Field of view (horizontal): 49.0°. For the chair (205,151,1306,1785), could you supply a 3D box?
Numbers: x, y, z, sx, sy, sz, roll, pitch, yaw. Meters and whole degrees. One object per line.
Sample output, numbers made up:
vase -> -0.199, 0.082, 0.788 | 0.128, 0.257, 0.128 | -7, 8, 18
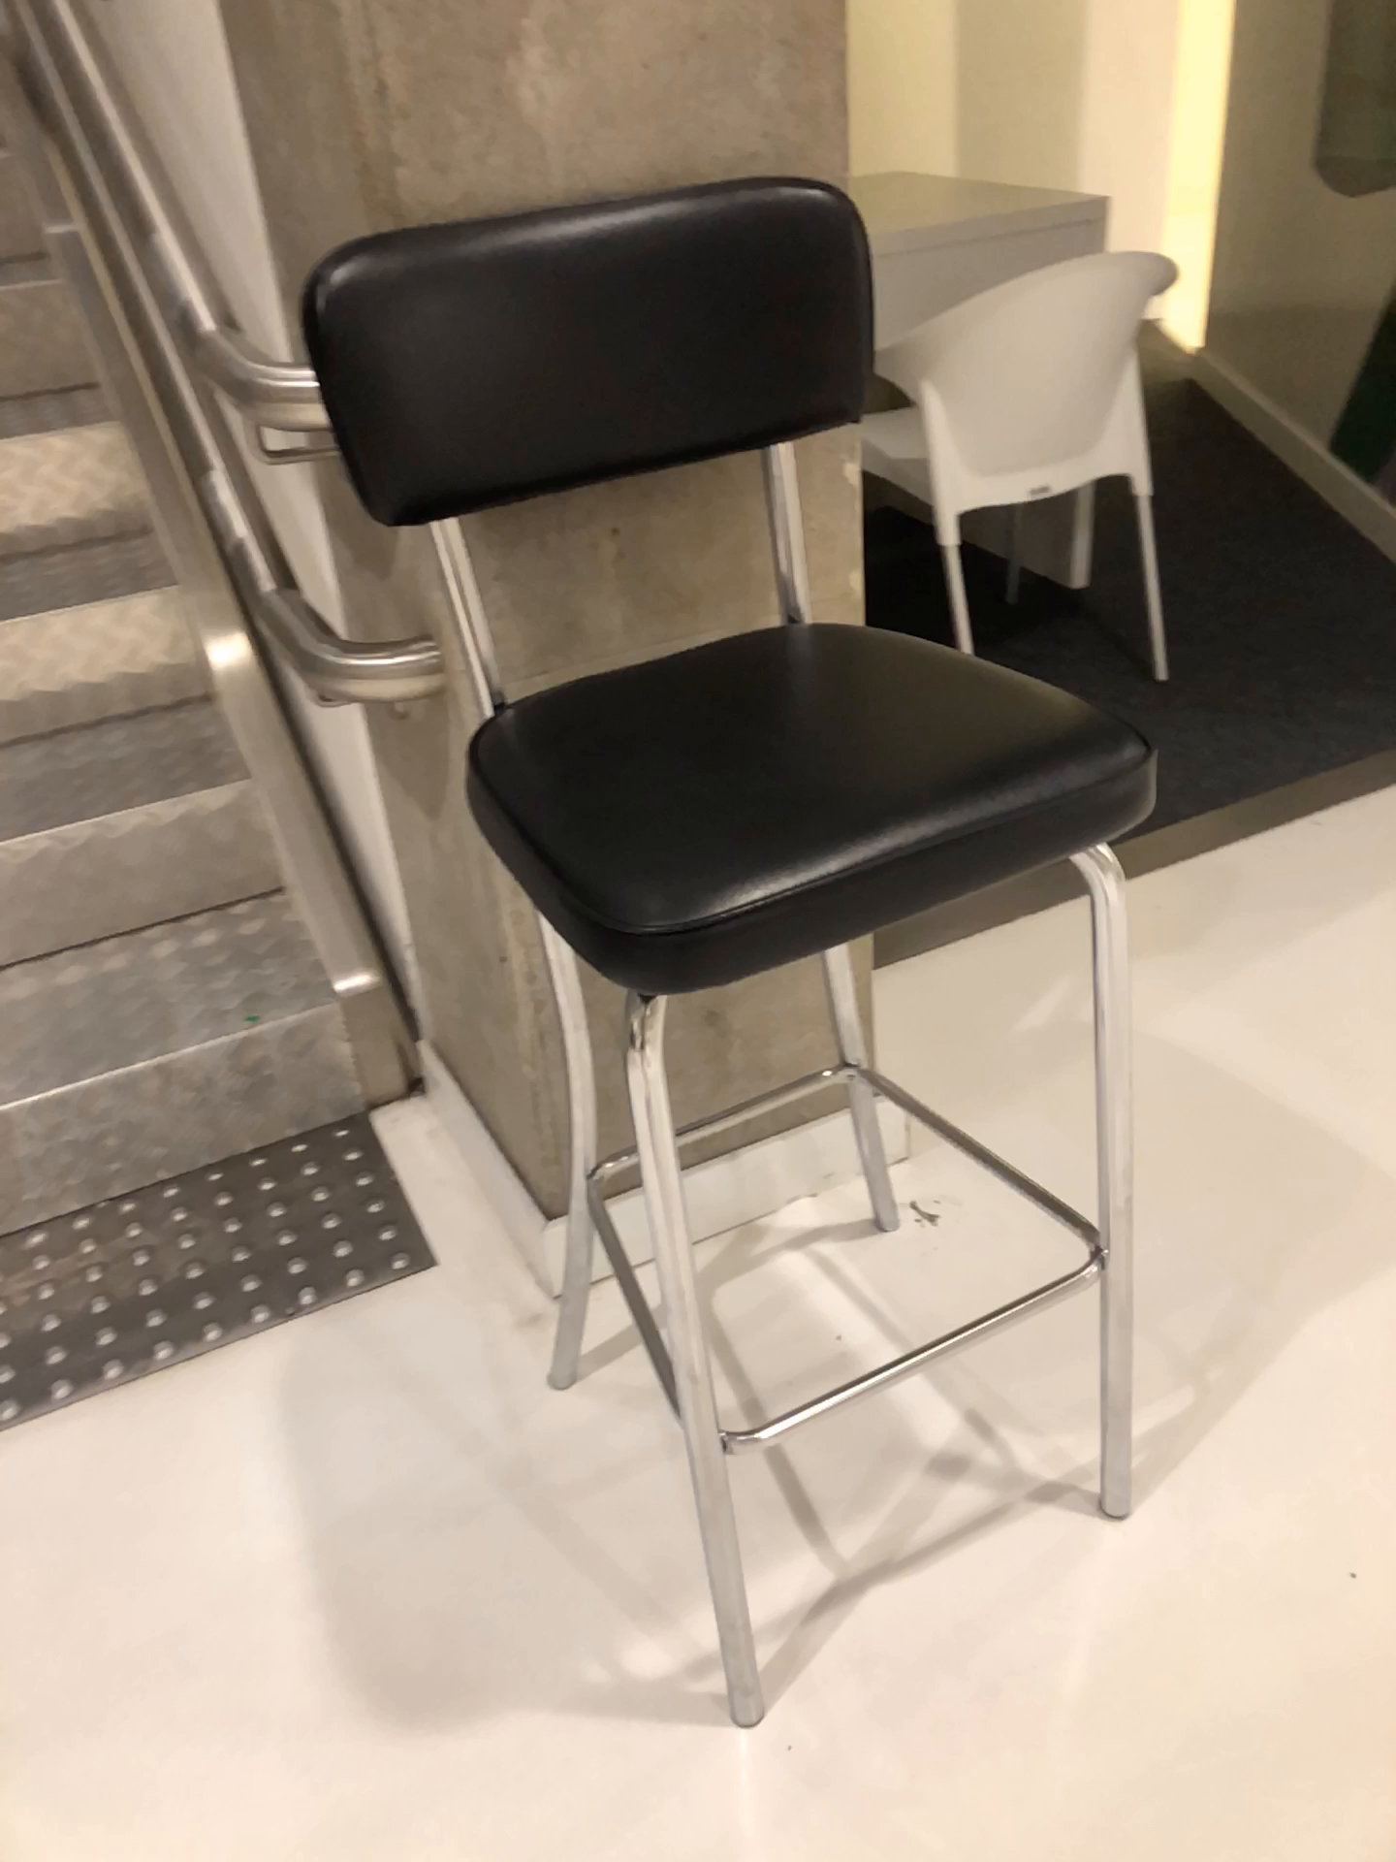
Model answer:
chair -> 0.038, 0.026, 1.092 | 0.451, 0.982, 0.443 | -18, 33, -20
